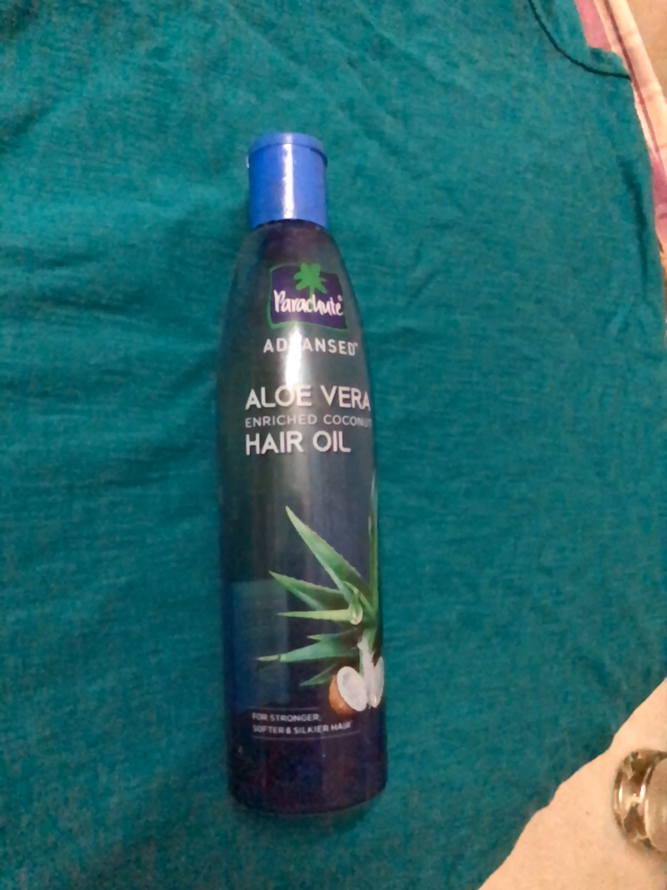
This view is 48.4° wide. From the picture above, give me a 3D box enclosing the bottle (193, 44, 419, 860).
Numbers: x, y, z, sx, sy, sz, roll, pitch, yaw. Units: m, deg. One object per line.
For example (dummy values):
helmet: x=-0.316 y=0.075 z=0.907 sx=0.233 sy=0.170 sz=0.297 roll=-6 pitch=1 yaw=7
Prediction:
bottle: x=-0.011 y=-0.003 z=0.218 sx=0.050 sy=0.040 sz=0.210 roll=1 pitch=82 yaw=-22
